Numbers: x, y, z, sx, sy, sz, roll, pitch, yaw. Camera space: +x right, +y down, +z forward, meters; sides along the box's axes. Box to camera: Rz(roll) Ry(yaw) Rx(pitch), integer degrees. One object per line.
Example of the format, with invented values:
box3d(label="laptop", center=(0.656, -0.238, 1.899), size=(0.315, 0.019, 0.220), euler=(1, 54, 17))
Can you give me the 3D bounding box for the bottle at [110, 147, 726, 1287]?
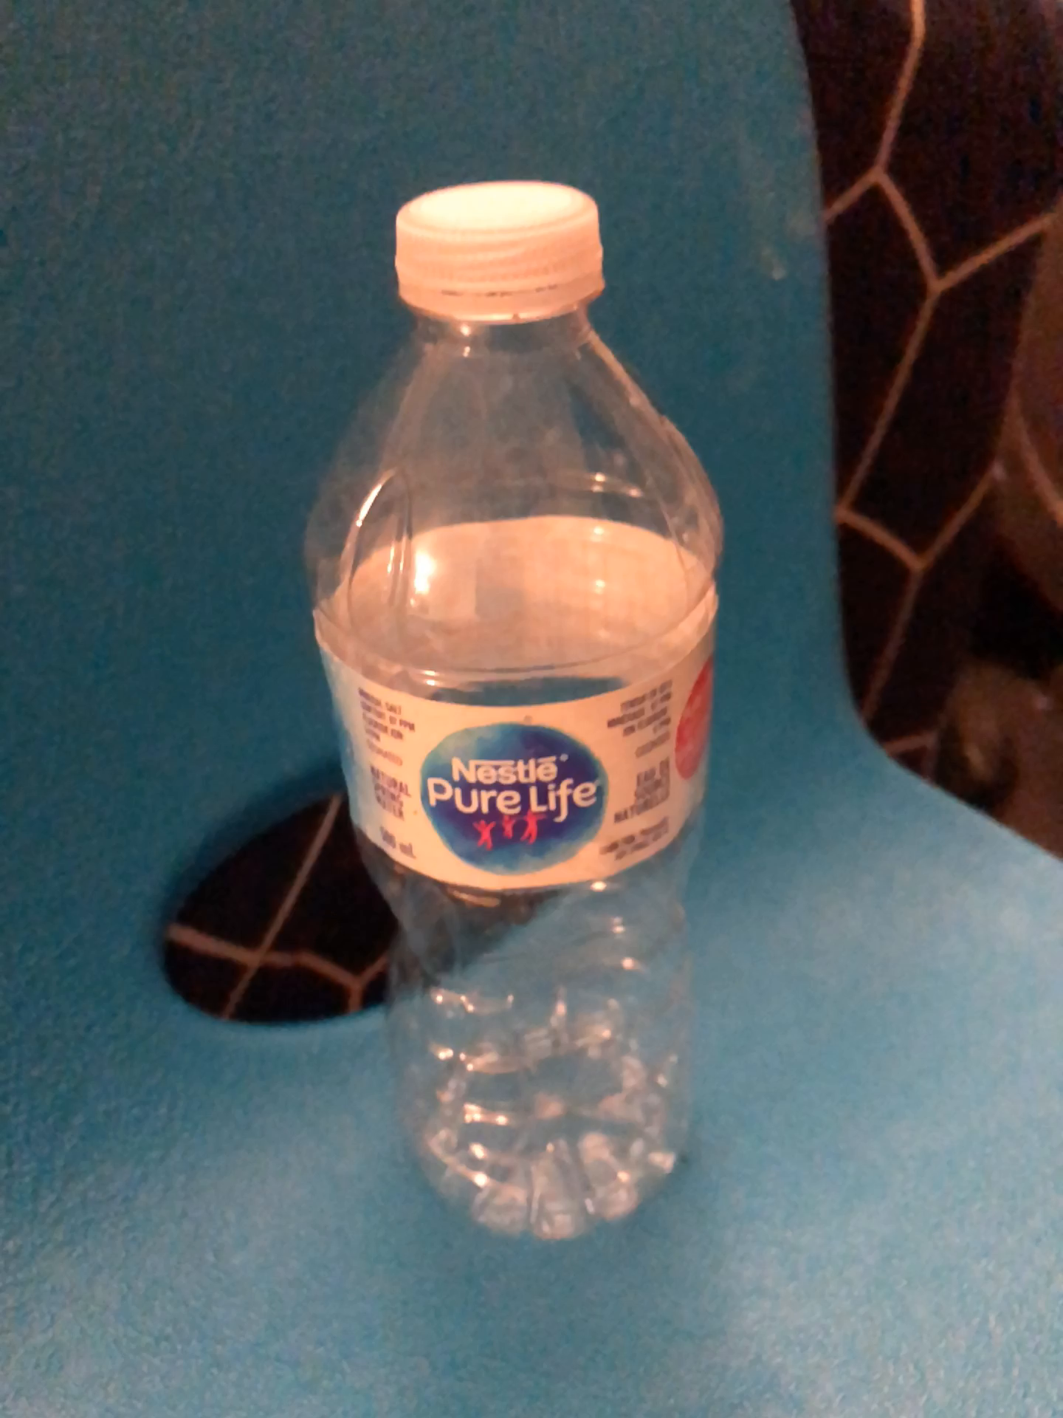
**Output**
box3d(label="bottle", center=(-0.006, 0.010, 0.212), size=(0.070, 0.189, 0.070), euler=(-4, 30, 2))
